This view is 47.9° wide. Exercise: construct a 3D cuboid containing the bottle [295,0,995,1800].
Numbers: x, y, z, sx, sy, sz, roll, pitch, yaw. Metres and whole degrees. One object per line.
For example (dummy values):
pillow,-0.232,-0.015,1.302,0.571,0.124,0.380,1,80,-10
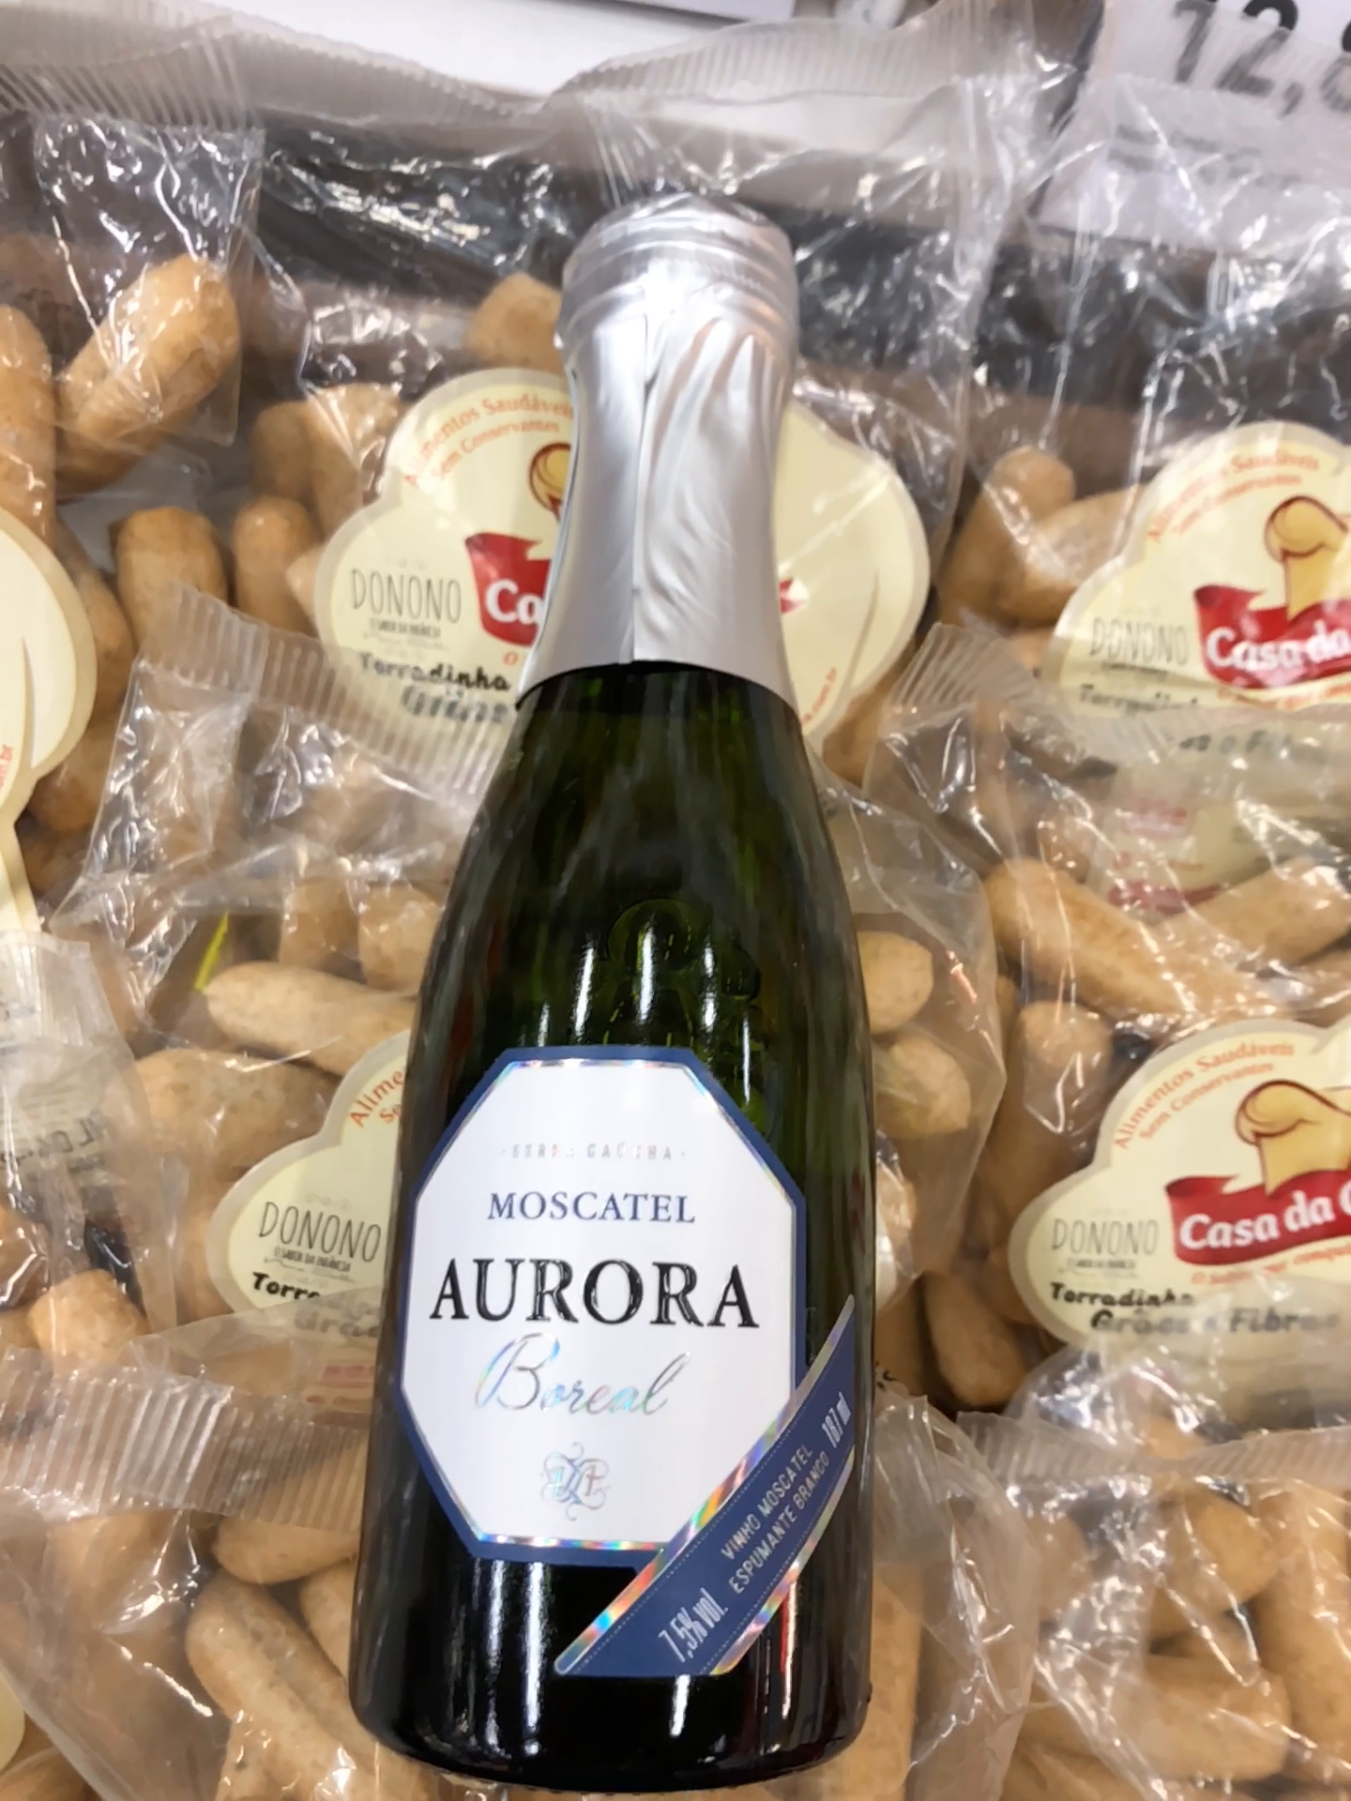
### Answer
bottle,-0.002,-0.002,0.178,0.060,0.050,0.200,5,79,-9
